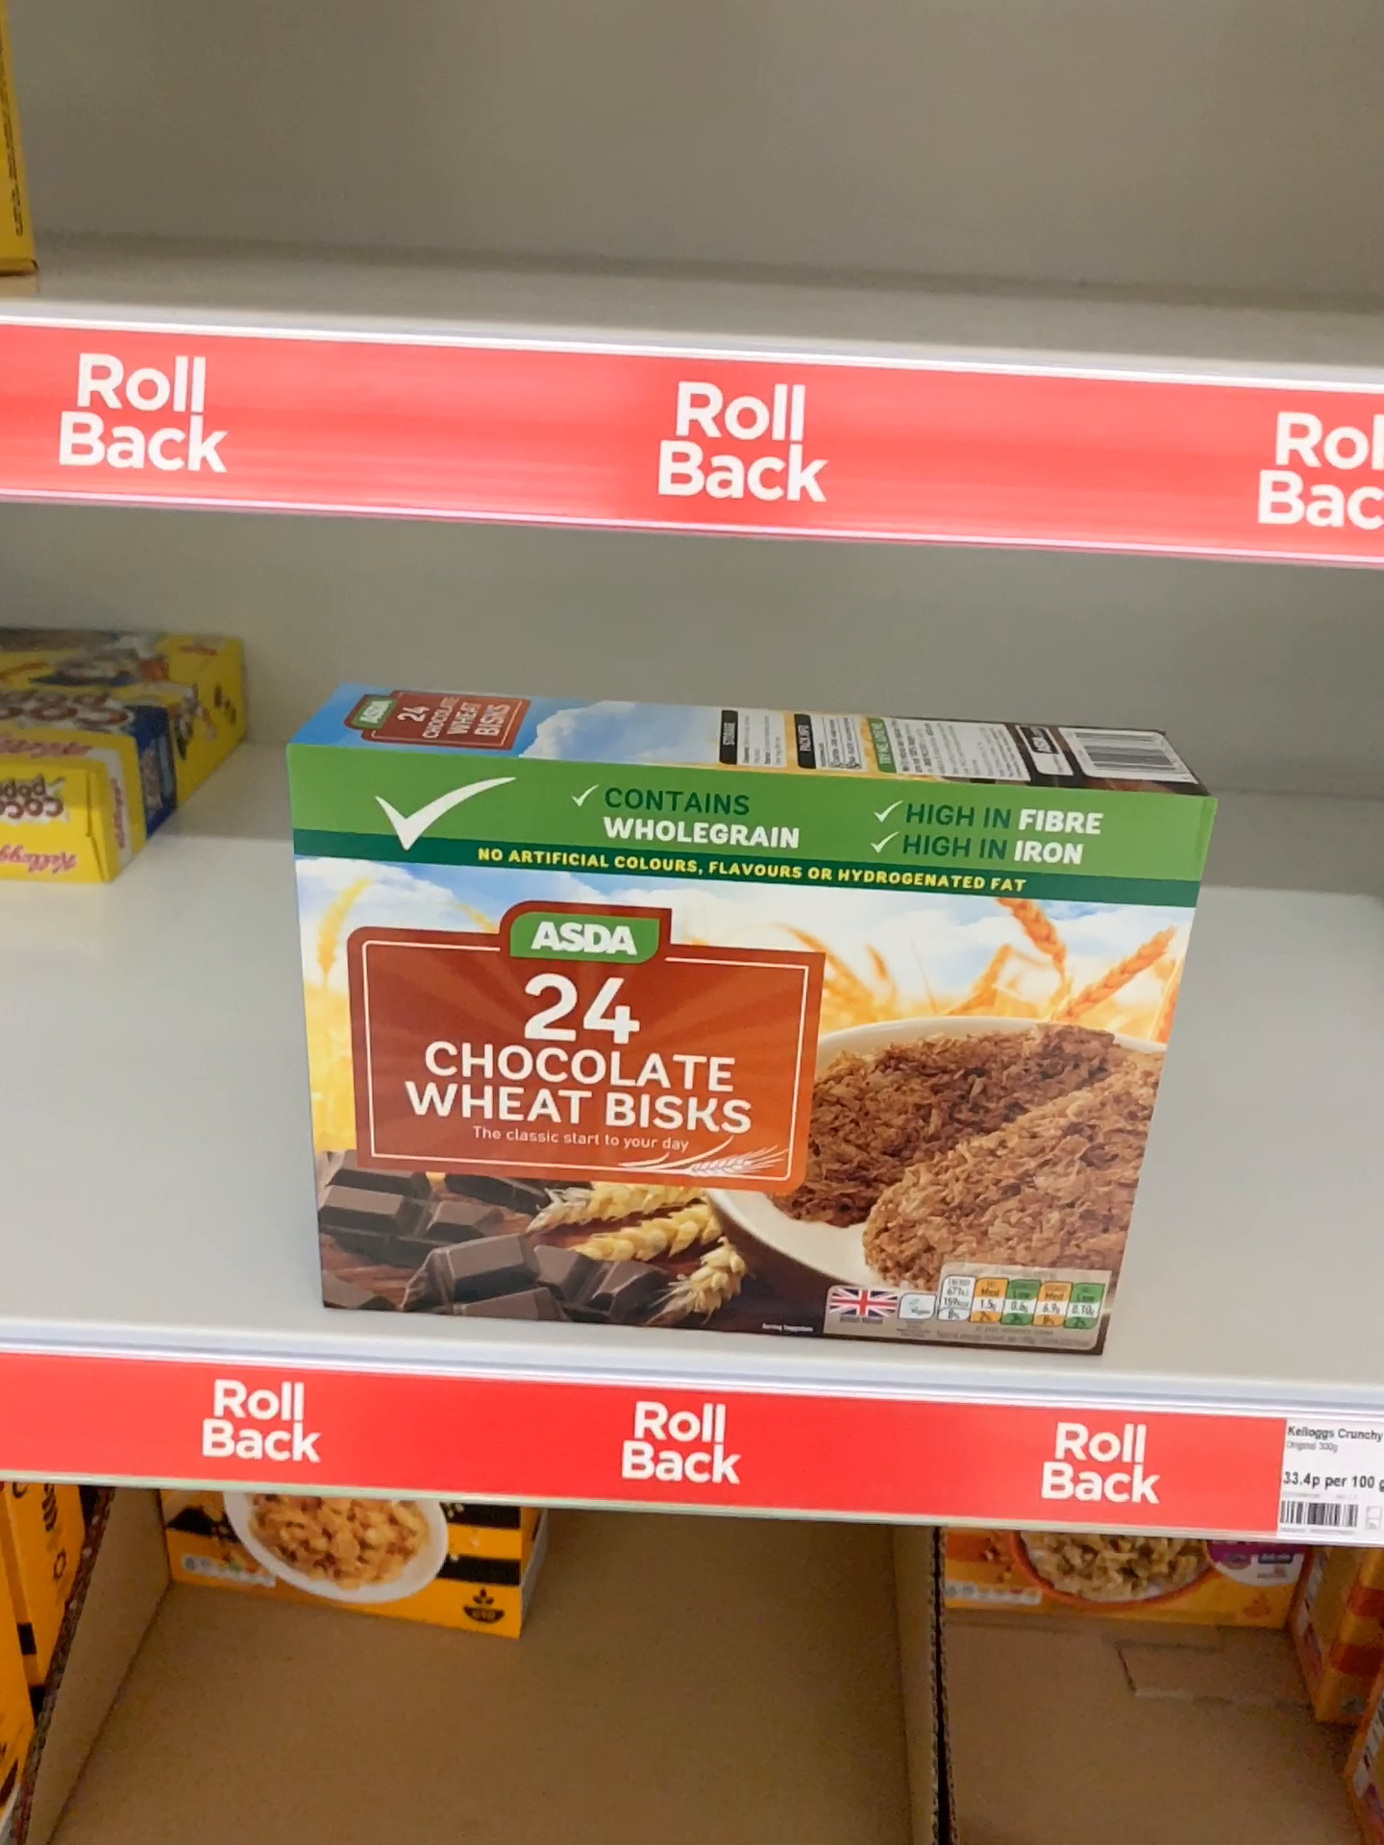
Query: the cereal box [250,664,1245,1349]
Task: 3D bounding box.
[{"bbox_3d":[0.011,0.027,0.428,0.250,0.179,0.071,3,26,0],"label":"cereal box"}]
